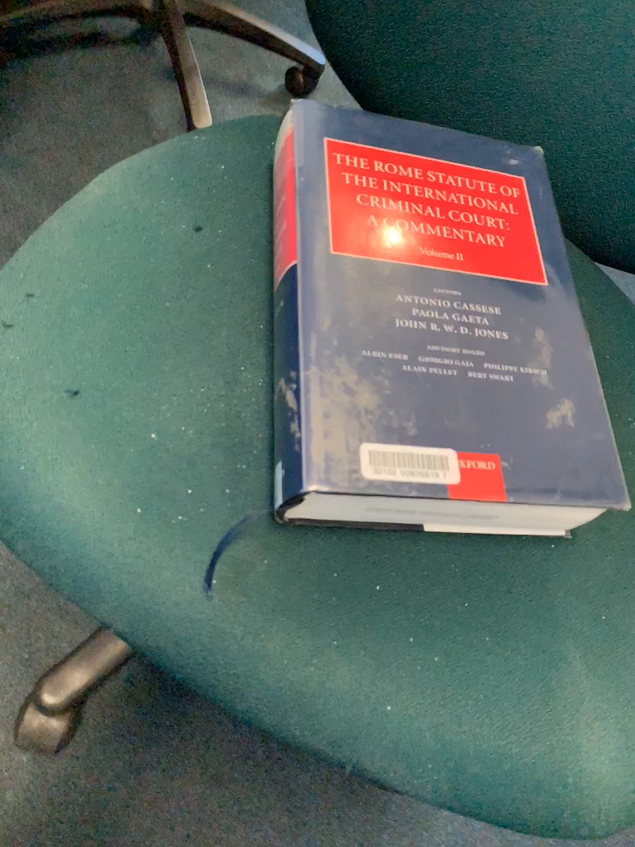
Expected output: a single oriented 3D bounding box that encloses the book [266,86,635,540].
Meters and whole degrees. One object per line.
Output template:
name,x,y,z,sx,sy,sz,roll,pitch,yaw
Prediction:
book,0.069,-0.067,0.393,0.188,0.070,0.257,5,63,-16
